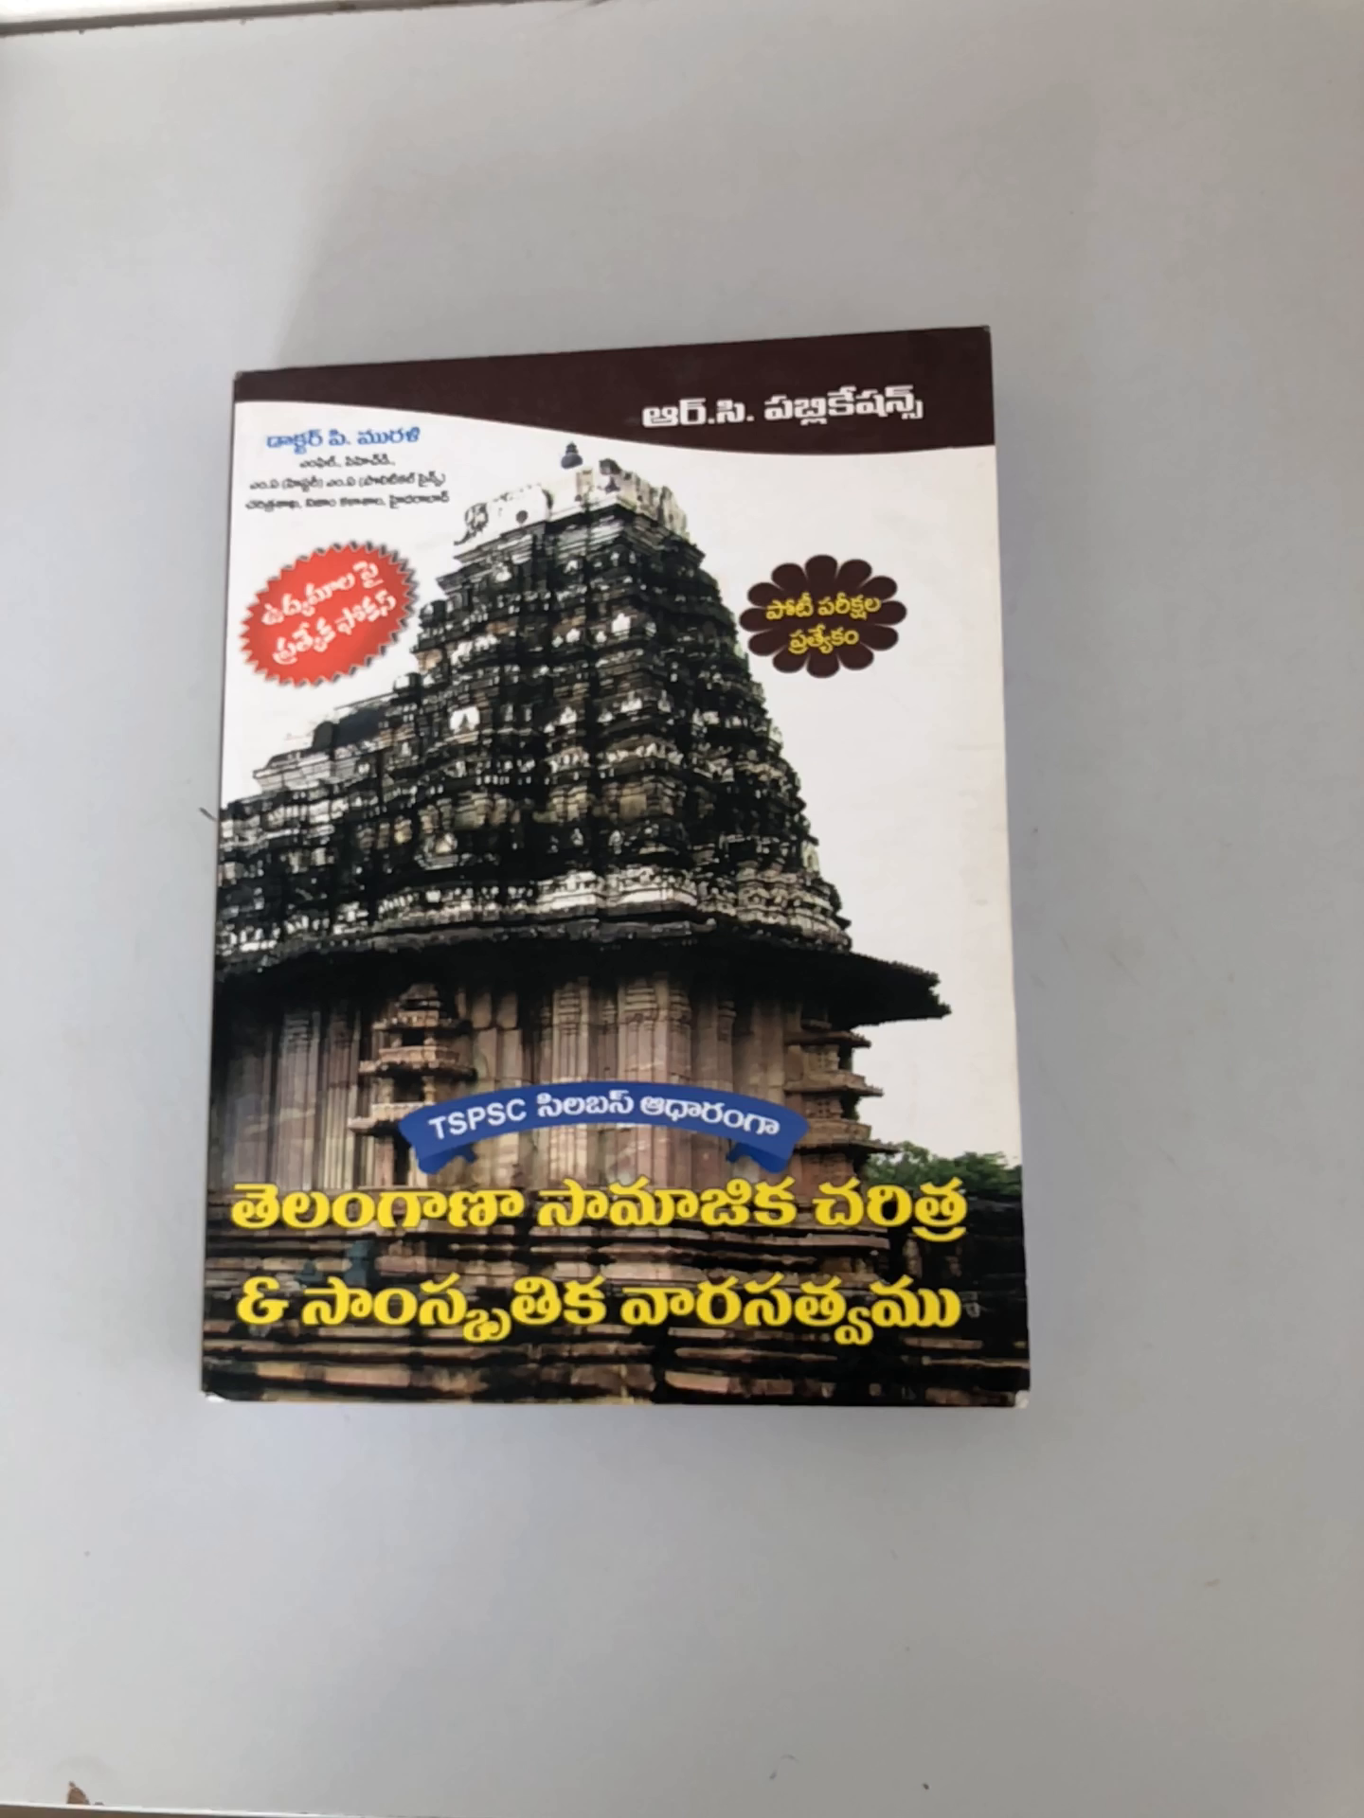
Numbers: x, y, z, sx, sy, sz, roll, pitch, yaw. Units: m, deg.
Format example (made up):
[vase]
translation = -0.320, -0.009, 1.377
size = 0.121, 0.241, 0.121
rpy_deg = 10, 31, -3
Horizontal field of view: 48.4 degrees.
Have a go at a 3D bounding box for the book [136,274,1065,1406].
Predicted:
[book]
translation = -0.017, -0.016, 0.330
size = 0.180, 0.040, 0.230
rpy_deg = -1, 81, 4
